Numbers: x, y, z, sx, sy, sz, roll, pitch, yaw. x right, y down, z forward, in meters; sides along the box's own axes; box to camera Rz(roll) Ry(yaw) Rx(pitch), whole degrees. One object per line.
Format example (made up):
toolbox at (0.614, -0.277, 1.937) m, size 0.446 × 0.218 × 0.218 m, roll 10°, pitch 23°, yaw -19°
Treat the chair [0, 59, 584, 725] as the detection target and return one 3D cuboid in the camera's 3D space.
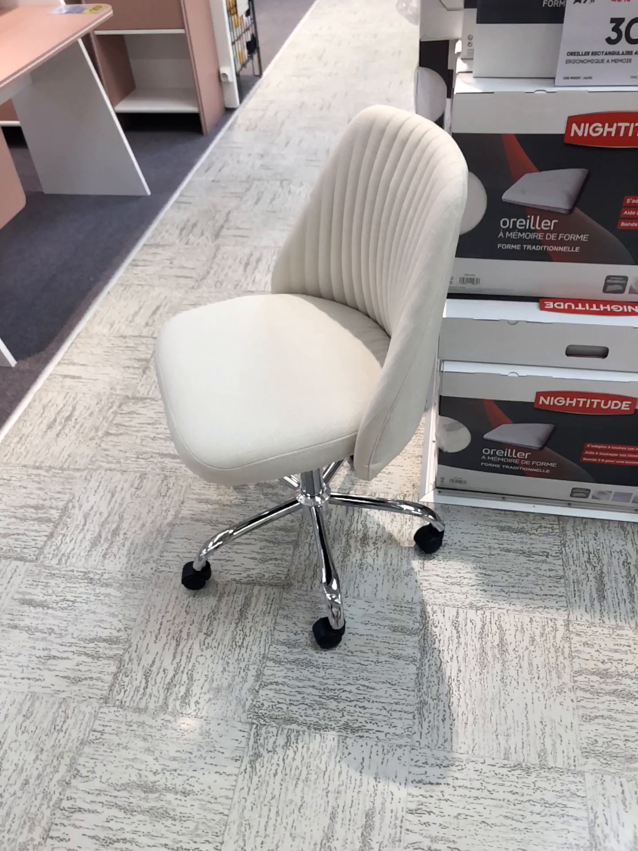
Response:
chair at (-0.087, -0.089, 1.253) m, size 0.631 × 0.786 × 0.703 m, roll -19°, pitch 44°, yaw -15°
